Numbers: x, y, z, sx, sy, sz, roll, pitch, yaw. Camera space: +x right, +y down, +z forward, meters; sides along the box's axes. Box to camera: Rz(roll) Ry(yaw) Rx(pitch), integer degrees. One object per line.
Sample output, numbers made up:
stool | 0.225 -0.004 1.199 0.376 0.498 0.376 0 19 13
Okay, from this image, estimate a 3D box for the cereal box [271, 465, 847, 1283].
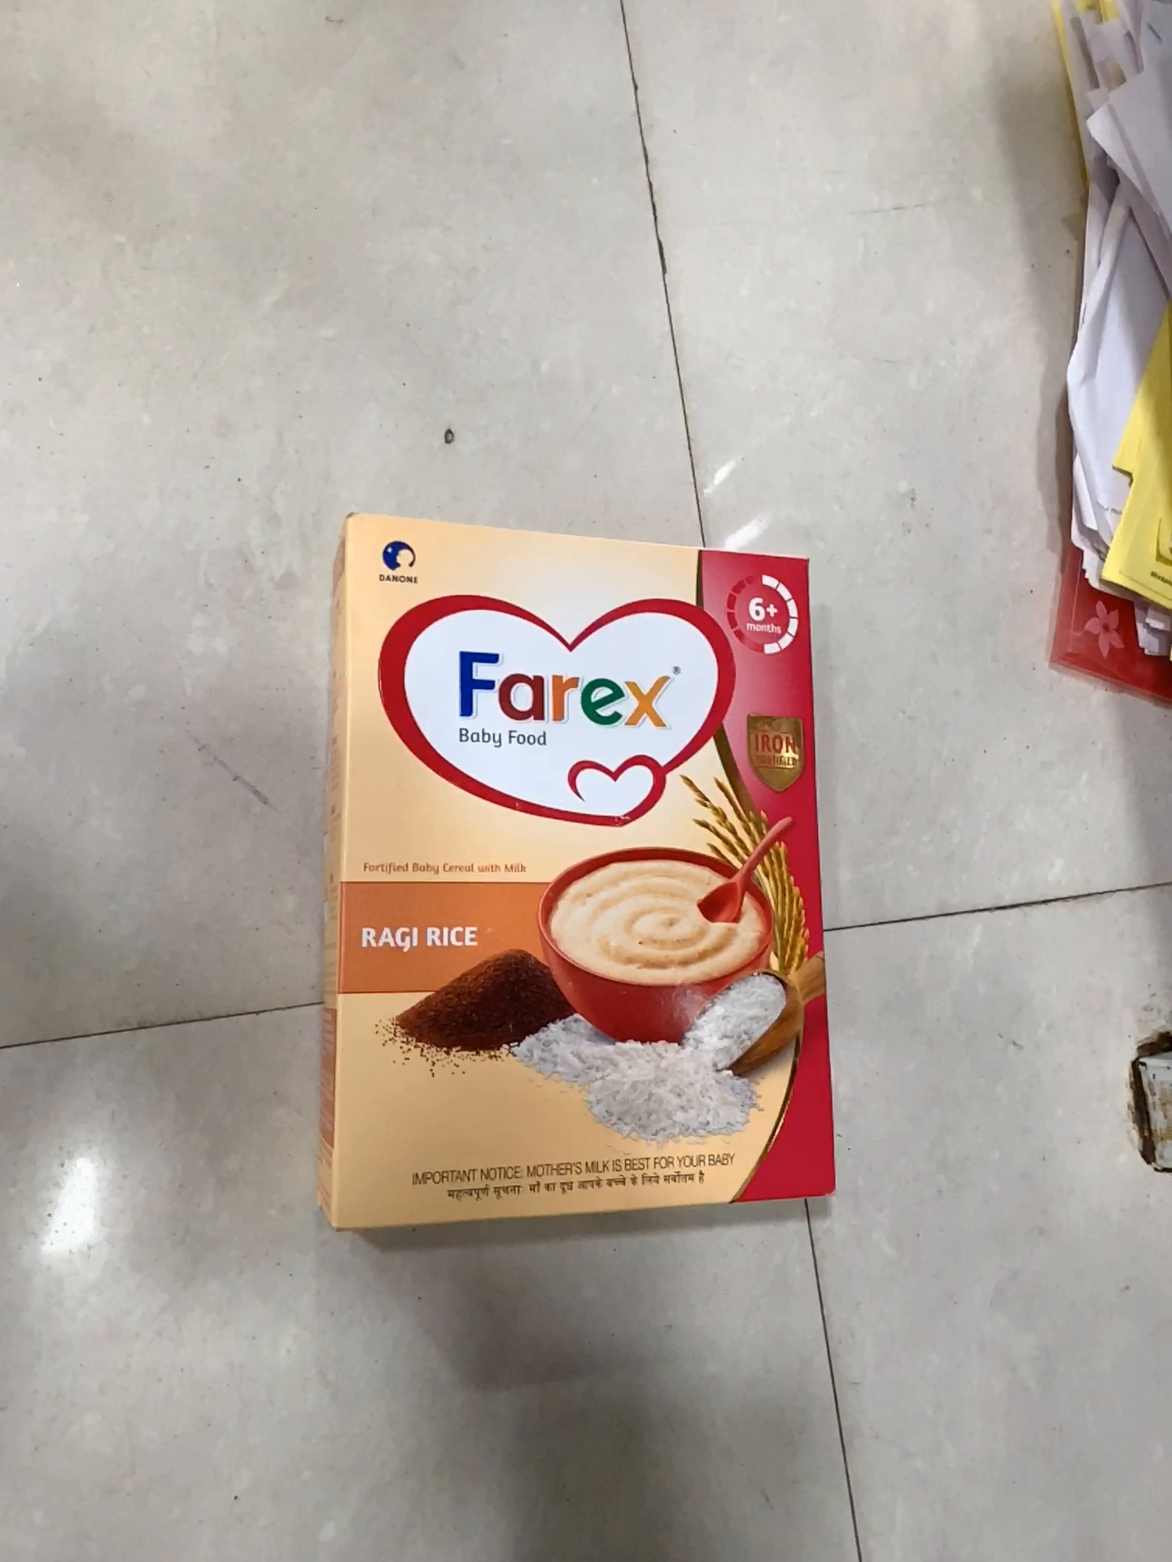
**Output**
cereal box | -0.007 0.024 0.344 0.150 0.050 0.200 3 81 -21
